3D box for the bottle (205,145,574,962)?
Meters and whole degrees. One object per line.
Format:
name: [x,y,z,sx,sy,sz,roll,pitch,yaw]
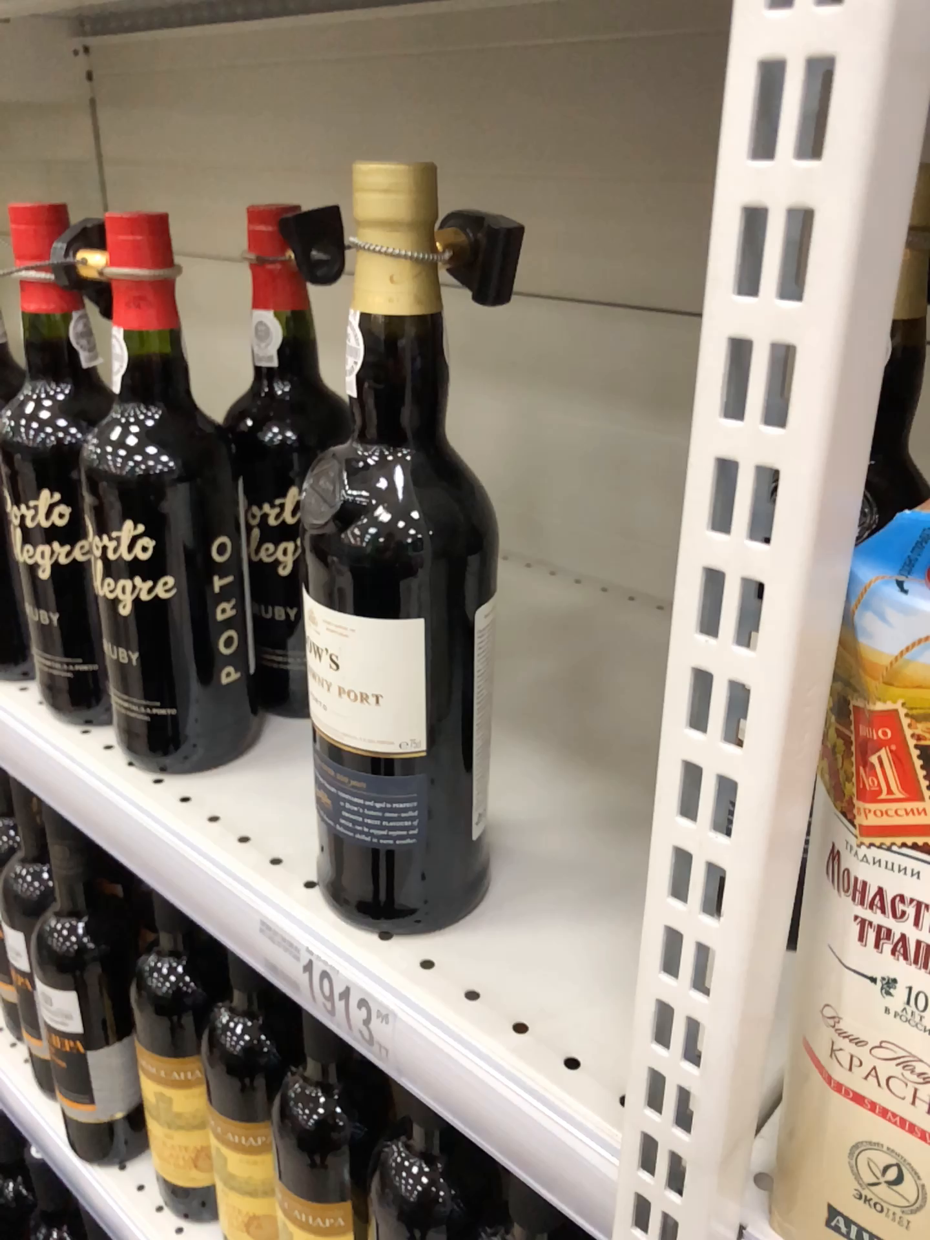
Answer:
bottle: [-0.028,-0.025,0.412,0.090,0.296,0.090,1,23,0]
